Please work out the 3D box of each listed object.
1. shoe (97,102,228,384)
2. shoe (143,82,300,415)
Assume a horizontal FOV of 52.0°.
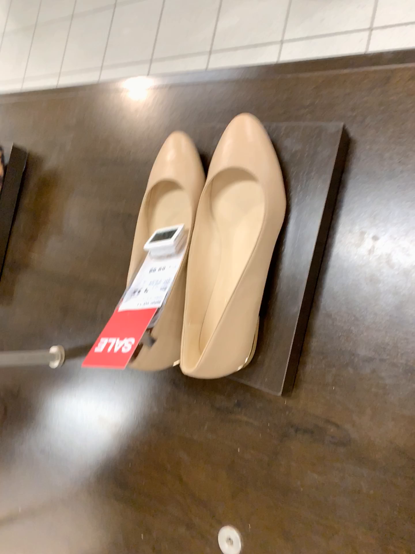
[{"bbox_3d":[-0.041,-0.028,0.427,0.090,0.080,0.250,-3,81,31],"label":"shoe"},{"bbox_3d":[0.017,-0.022,0.373,0.090,0.080,0.250,1,83,32],"label":"shoe"}]
